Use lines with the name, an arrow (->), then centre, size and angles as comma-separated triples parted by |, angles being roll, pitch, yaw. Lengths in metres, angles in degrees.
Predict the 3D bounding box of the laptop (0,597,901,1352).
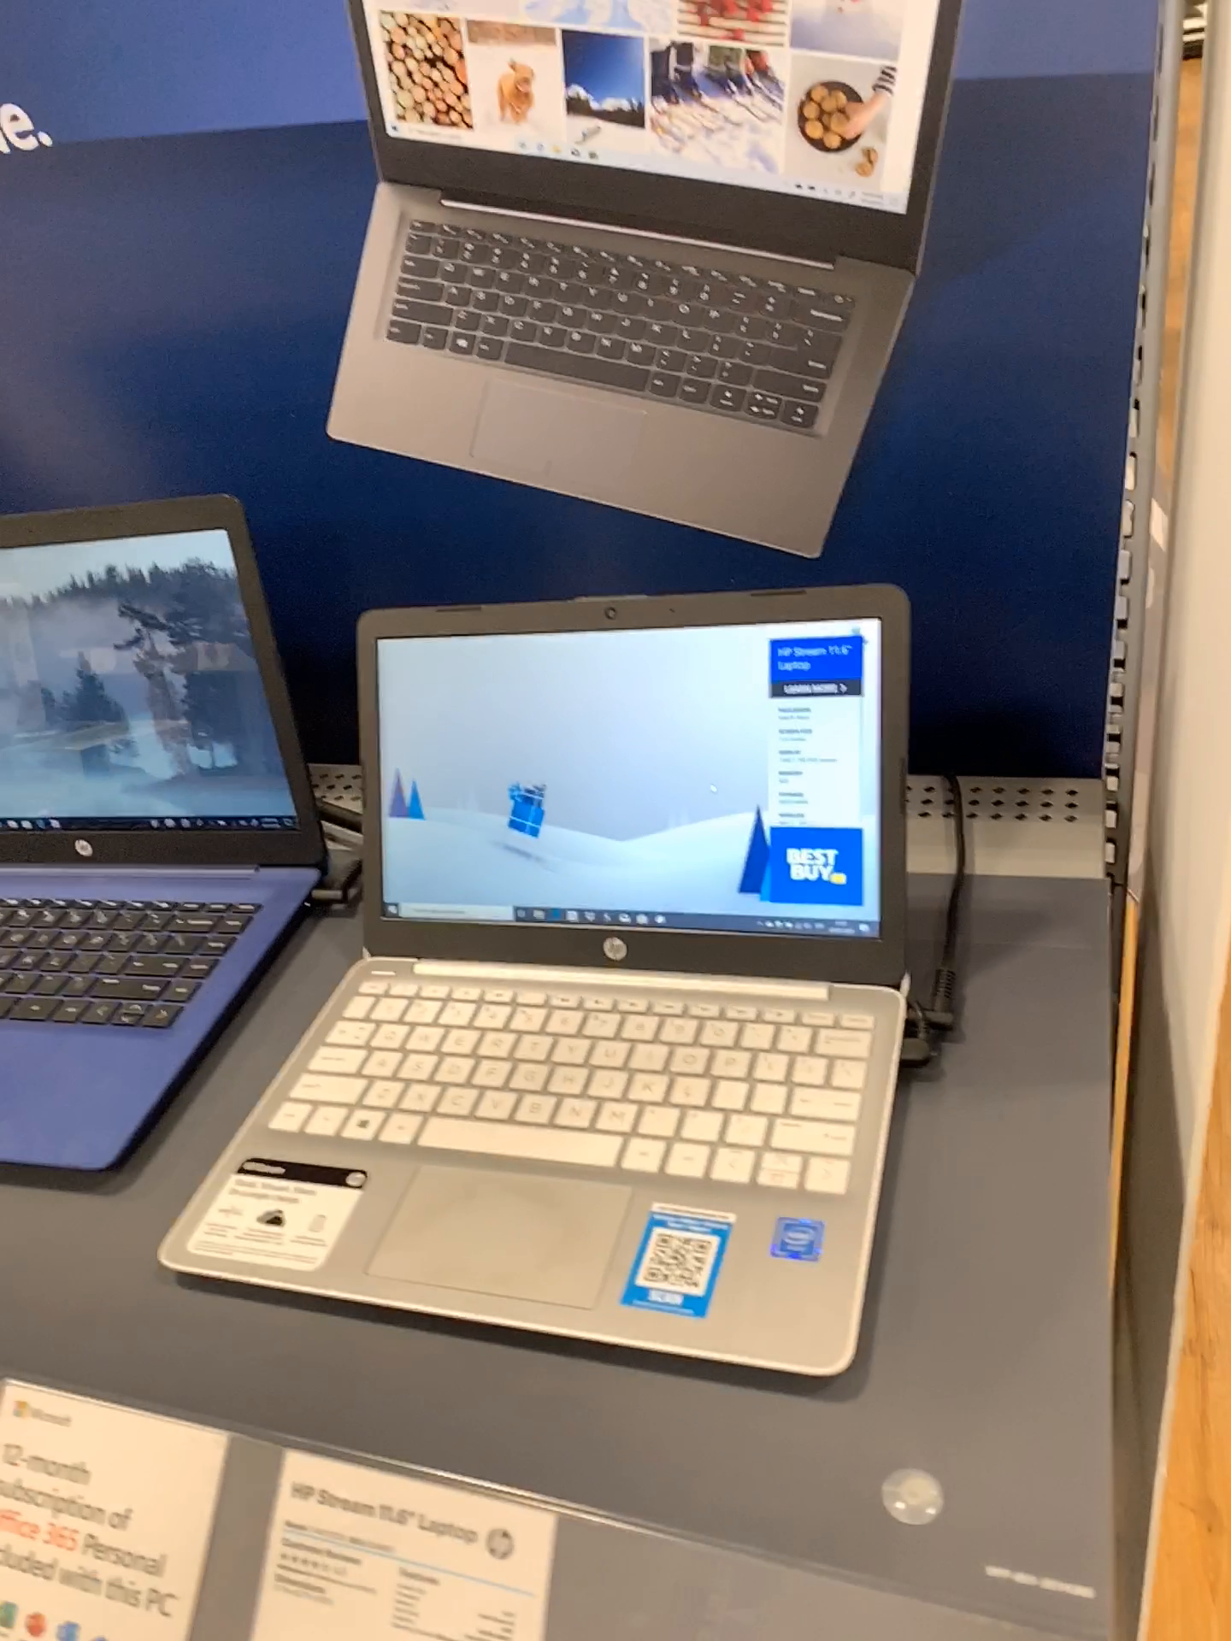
laptop -> -0.031, 0.036, 0.528 | 0.266, 0.144, 0.275 | 1, 35, 17
